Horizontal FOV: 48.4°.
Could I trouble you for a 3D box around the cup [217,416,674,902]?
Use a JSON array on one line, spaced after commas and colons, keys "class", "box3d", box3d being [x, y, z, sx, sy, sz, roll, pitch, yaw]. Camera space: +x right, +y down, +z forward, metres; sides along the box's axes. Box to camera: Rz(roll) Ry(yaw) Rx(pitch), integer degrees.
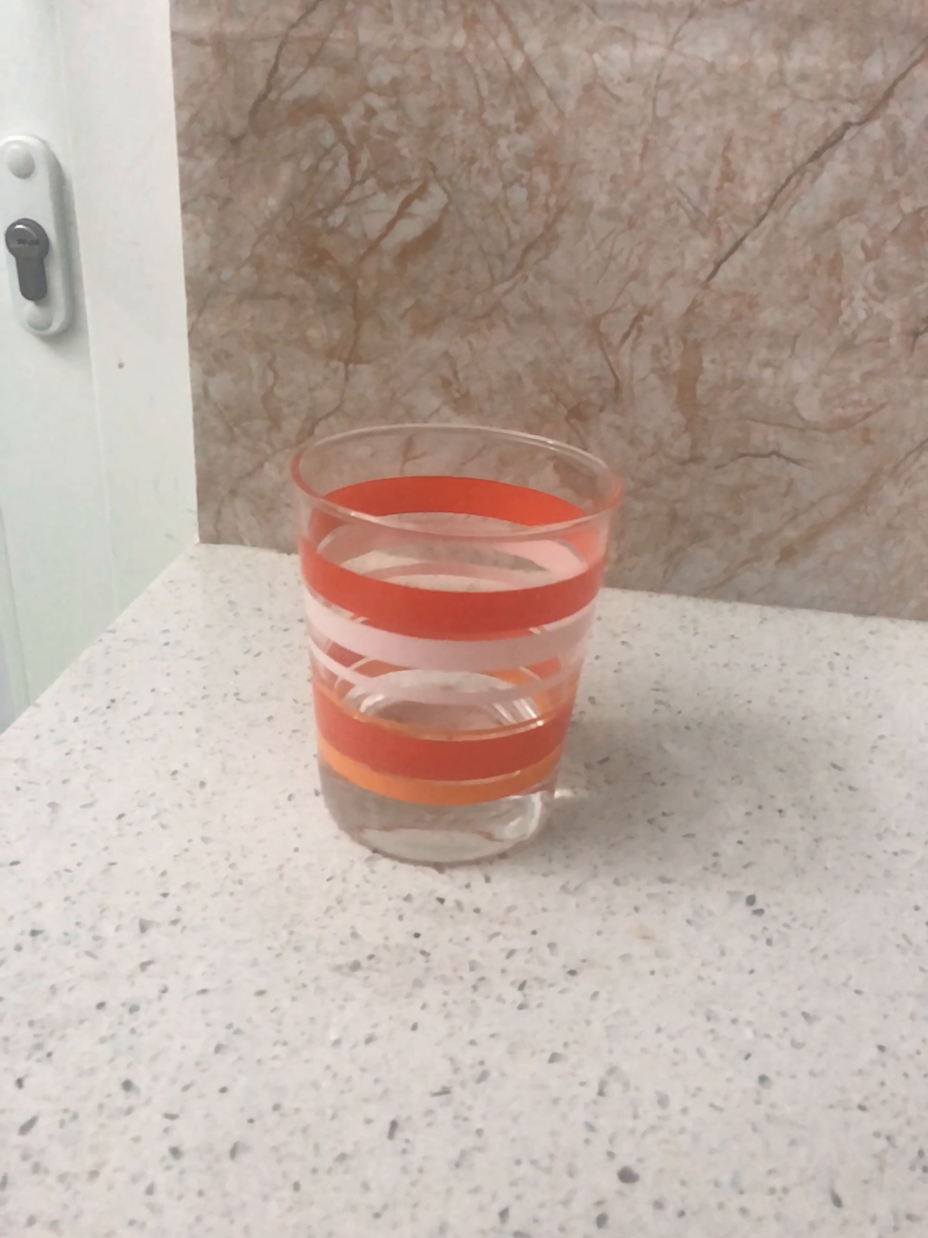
[{"class": "cup", "box3d": [-0.006, 0.006, 0.258, 0.090, 0.090, 0.080, 3, 26, -1]}]
